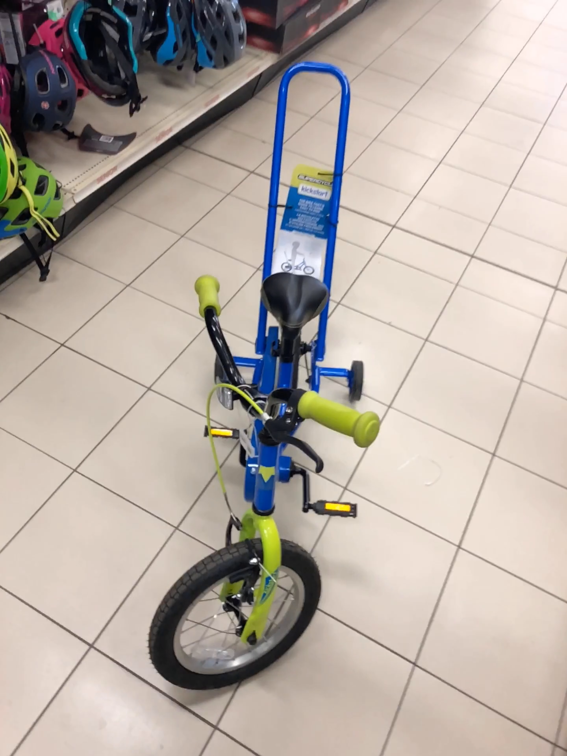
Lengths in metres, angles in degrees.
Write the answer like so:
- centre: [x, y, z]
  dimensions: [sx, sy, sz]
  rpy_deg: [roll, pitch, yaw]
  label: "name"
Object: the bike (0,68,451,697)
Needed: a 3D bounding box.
- centre: [-0.106, -0.011, 1.232]
  dimensions: [0.538, 0.763, 0.957]
  rpy_deg: [15, 49, 6]
  label: "bike"
